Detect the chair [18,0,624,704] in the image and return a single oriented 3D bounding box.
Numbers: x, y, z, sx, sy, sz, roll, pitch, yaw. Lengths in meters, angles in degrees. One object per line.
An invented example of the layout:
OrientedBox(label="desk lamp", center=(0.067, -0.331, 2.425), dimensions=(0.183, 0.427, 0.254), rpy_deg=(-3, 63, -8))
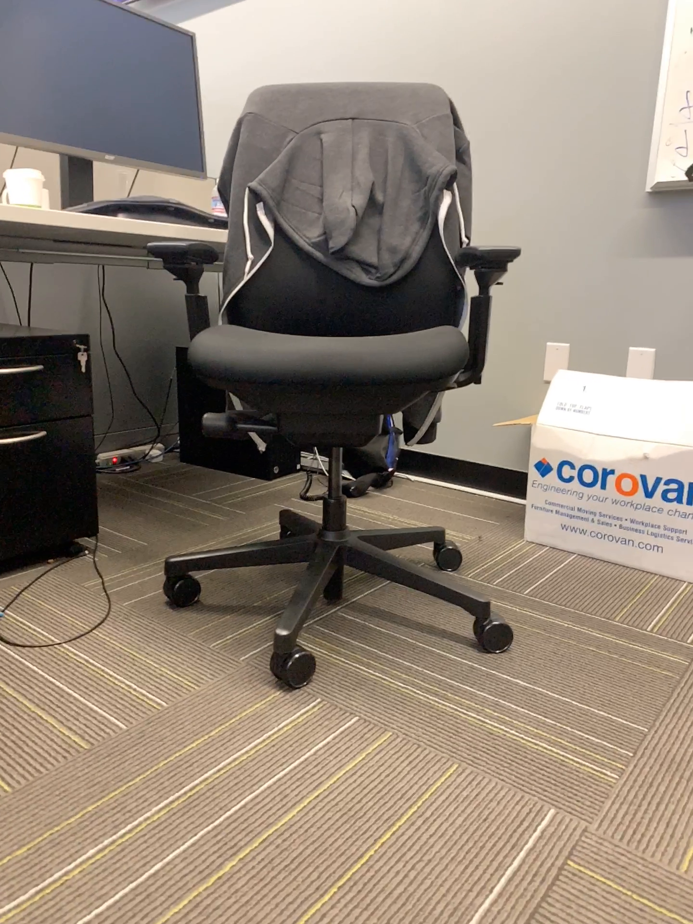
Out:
OrientedBox(label="chair", center=(-0.028, -0.273, 1.416), dimensions=(0.750, 1.076, 0.883), rpy_deg=(3, 13, 4))
